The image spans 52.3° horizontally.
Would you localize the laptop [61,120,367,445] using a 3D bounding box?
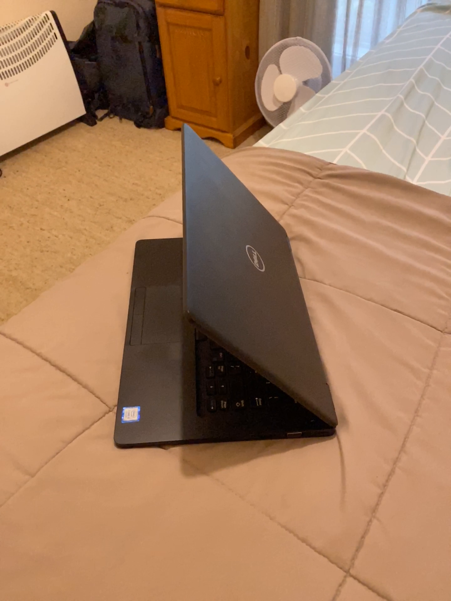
[{"bbox_3d":[-0.015,-0.041,0.524,0.226,0.183,0.336,-4,45,-2],"label":"laptop"}]
